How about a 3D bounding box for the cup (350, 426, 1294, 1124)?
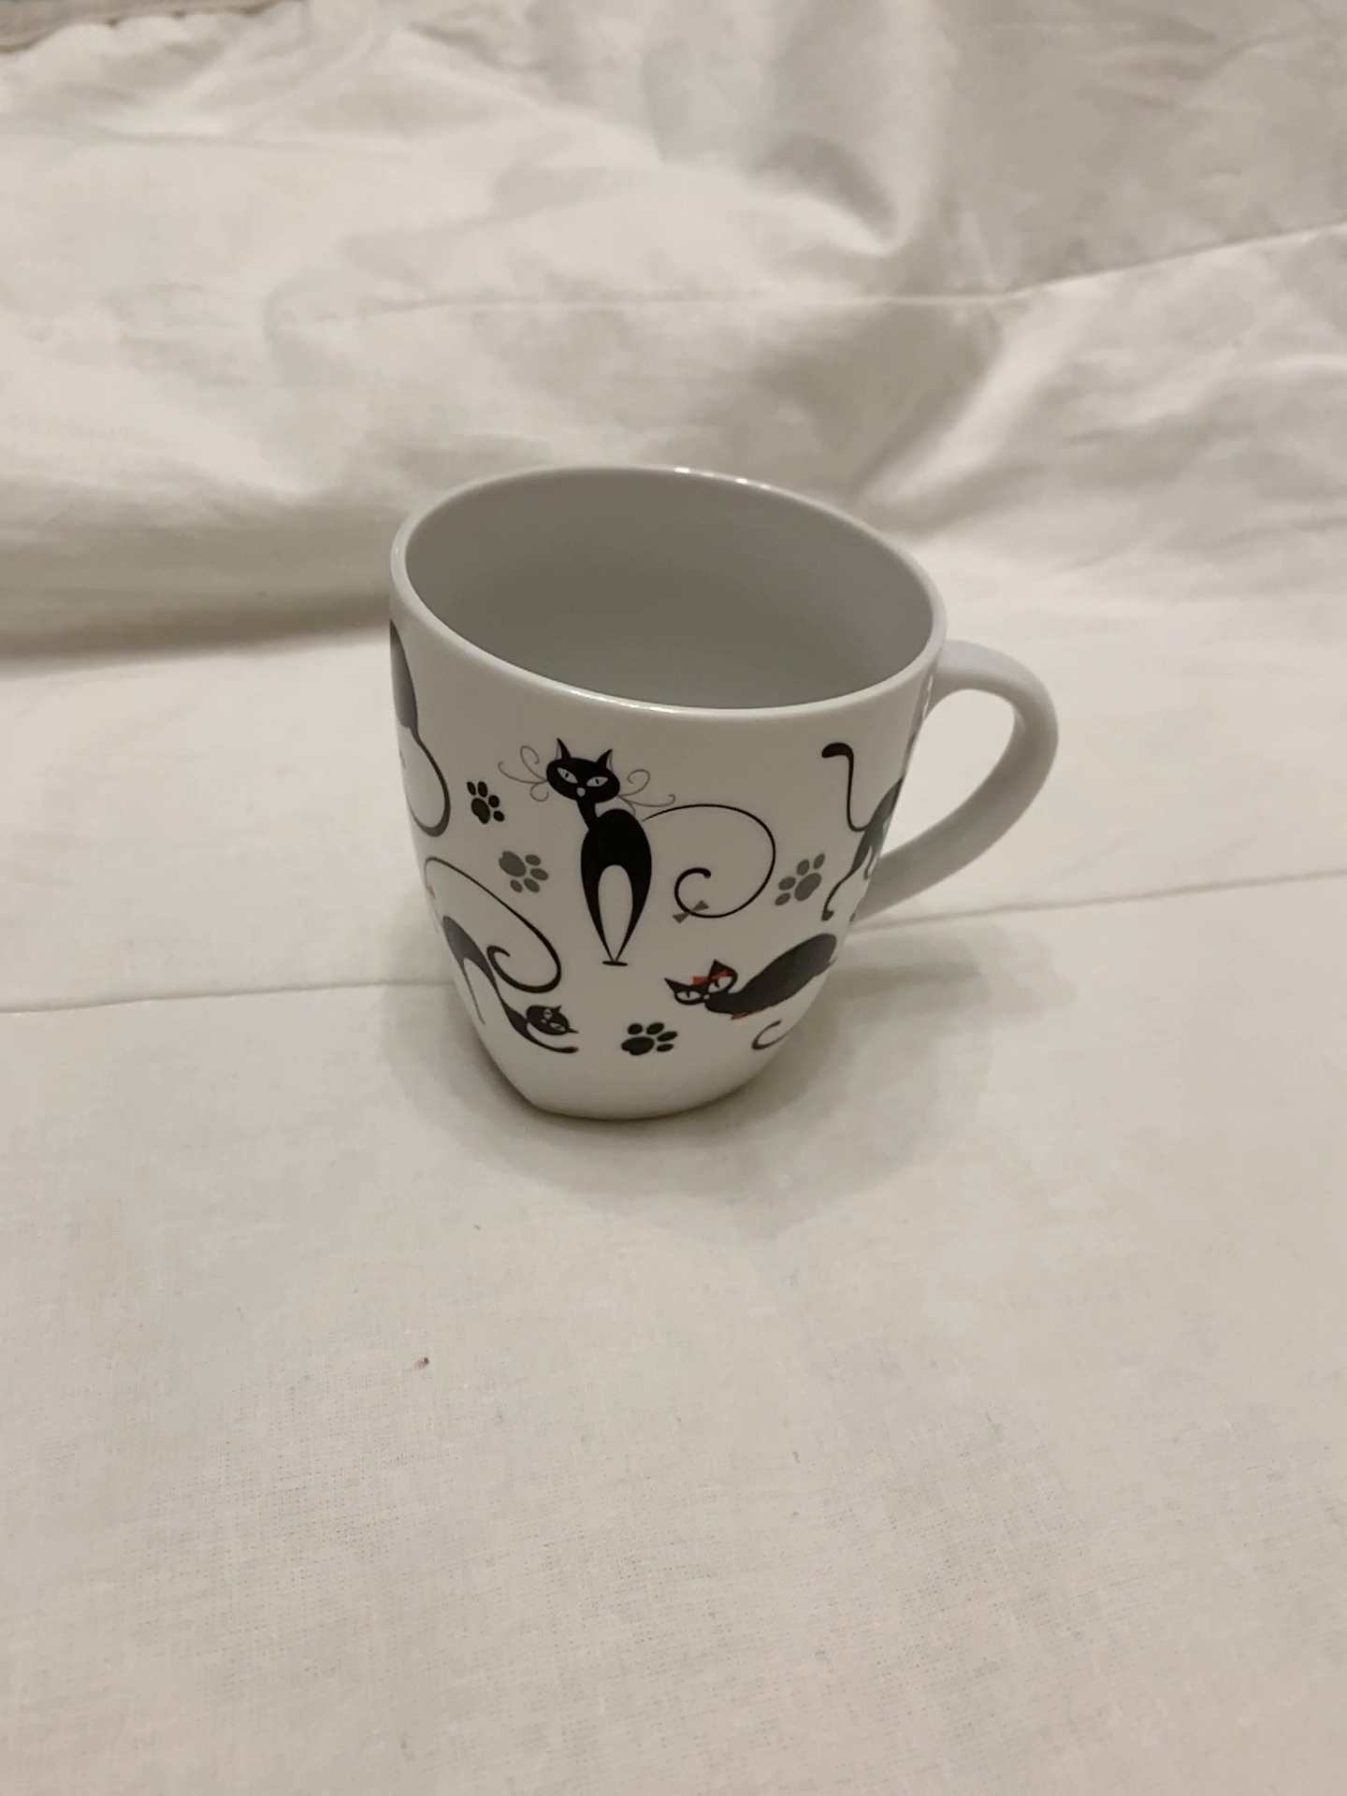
[{"bbox_3d":[0.014,-0.020,0.229,0.118,0.077,0.081,1,40,-7],"label":"cup"}]
